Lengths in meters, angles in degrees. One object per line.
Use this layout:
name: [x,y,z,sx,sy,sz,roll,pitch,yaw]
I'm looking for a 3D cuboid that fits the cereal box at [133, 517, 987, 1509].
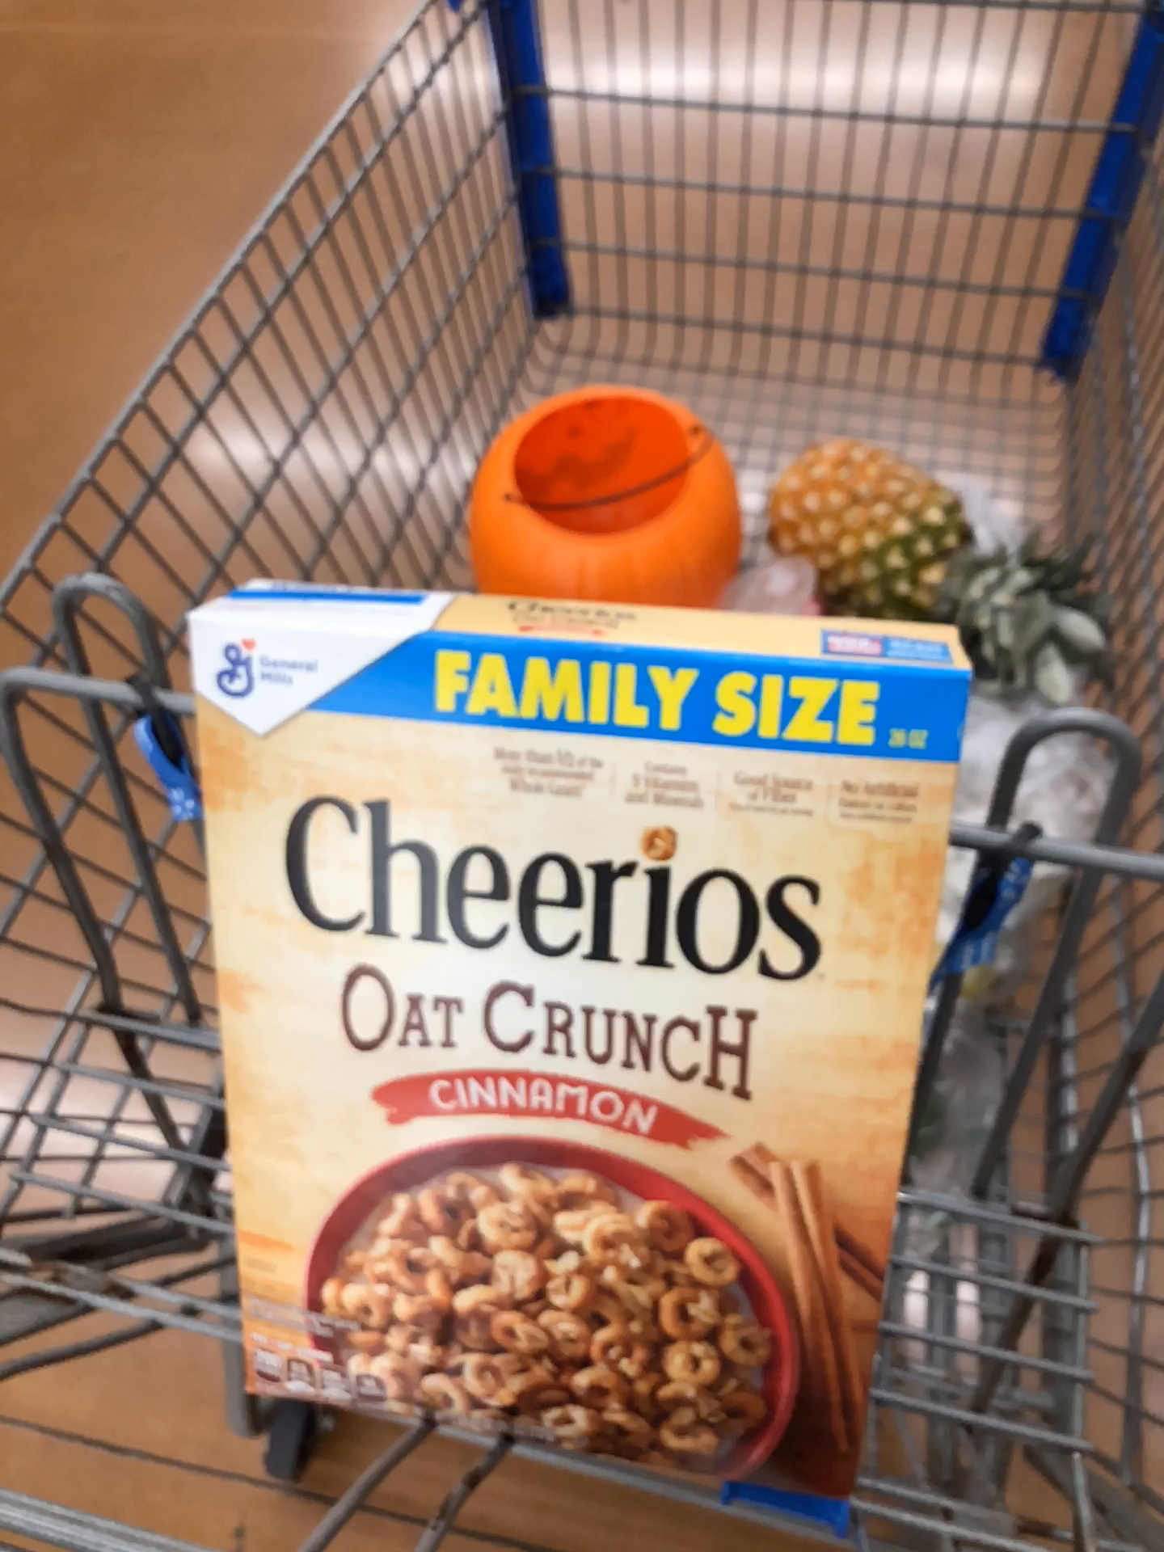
cereal box: [-0.012,0.087,0.471,0.250,0.330,0.080,6,22,9]
